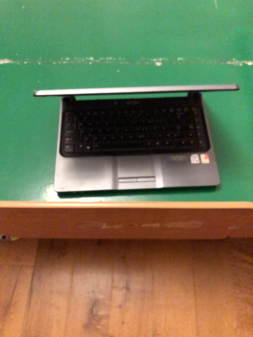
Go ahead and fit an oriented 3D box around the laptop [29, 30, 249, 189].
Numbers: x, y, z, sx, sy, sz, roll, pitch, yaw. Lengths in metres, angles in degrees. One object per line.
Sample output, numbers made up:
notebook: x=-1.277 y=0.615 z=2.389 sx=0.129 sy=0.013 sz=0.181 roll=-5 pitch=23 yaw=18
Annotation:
laptop: x=0.018 y=-0.106 z=0.531 sx=0.316 sy=0.171 sz=0.227 roll=-2 pitch=63 yaw=-2
